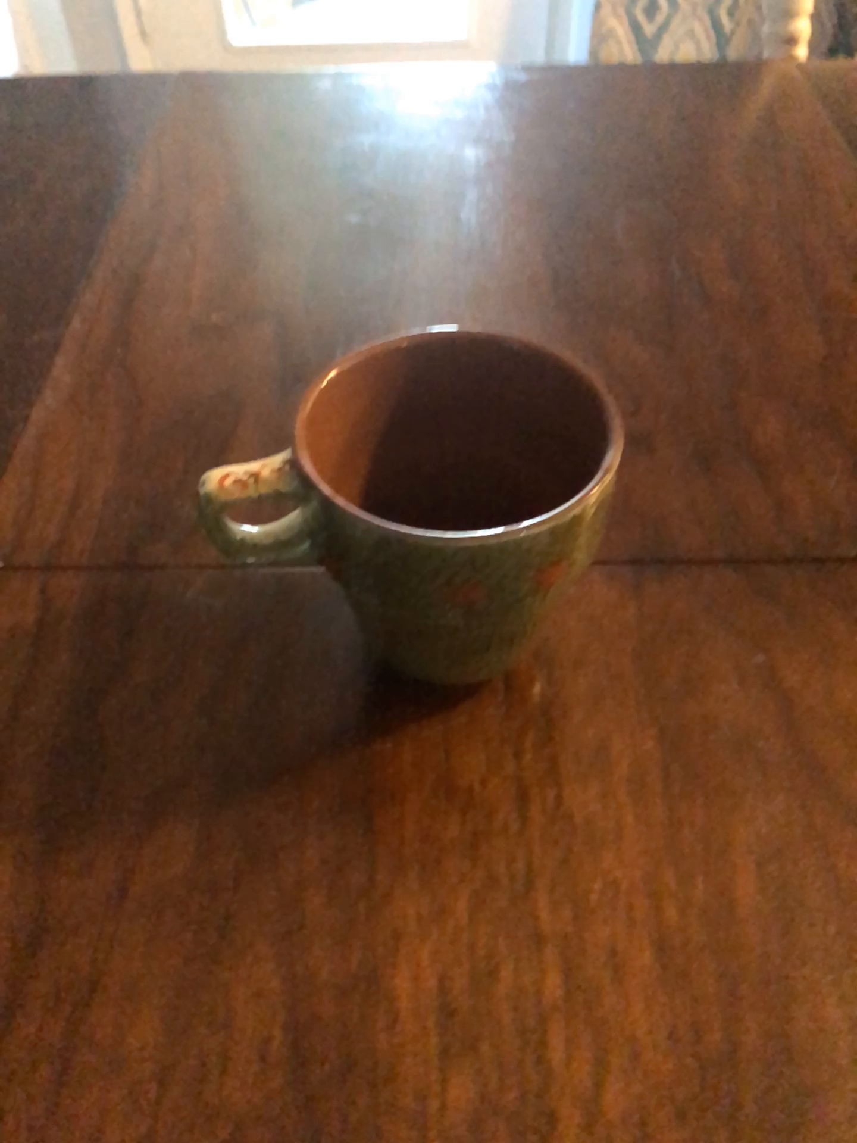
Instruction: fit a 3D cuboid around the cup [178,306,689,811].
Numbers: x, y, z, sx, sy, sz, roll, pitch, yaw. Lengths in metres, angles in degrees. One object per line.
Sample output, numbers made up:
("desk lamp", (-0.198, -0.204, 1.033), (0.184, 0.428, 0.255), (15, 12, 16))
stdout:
("cup", (-0.004, -0.004, 0.318), (0.130, 0.110, 0.100), (-10, 48, -7))
